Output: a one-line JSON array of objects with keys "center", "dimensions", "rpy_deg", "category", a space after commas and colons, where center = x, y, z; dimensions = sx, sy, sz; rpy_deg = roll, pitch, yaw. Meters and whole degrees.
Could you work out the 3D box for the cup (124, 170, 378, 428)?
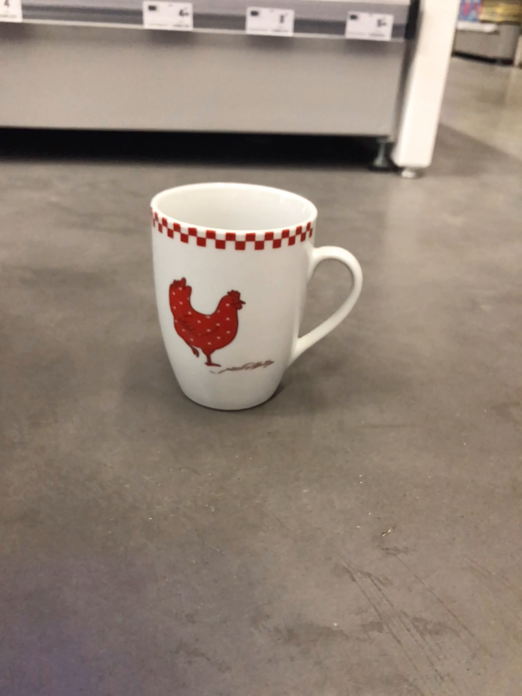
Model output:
[{"center": [-0.002, -0.029, 0.293], "dimensions": [0.102, 0.092, 0.088], "rpy_deg": [6, 29, 4], "category": "cup"}]
